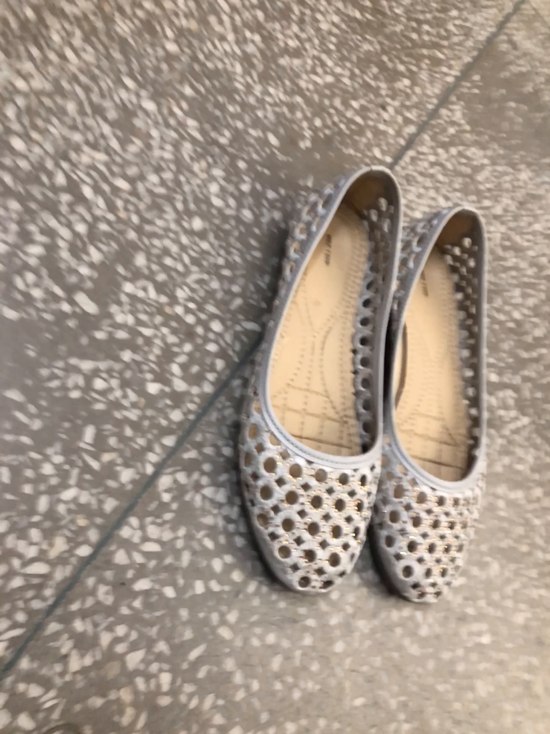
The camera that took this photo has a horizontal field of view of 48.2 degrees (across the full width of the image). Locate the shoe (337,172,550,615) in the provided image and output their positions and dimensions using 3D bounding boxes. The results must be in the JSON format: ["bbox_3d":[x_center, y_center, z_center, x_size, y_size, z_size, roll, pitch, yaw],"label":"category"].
[{"bbox_3d":[0.100,0.017,0.373,0.093,0.070,0.240,13,70,-26],"label":"shoe"}]

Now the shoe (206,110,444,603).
[{"bbox_3d":[0.030,-0.003,0.336,0.093,0.070,0.240,13,70,-26],"label":"shoe"}]
